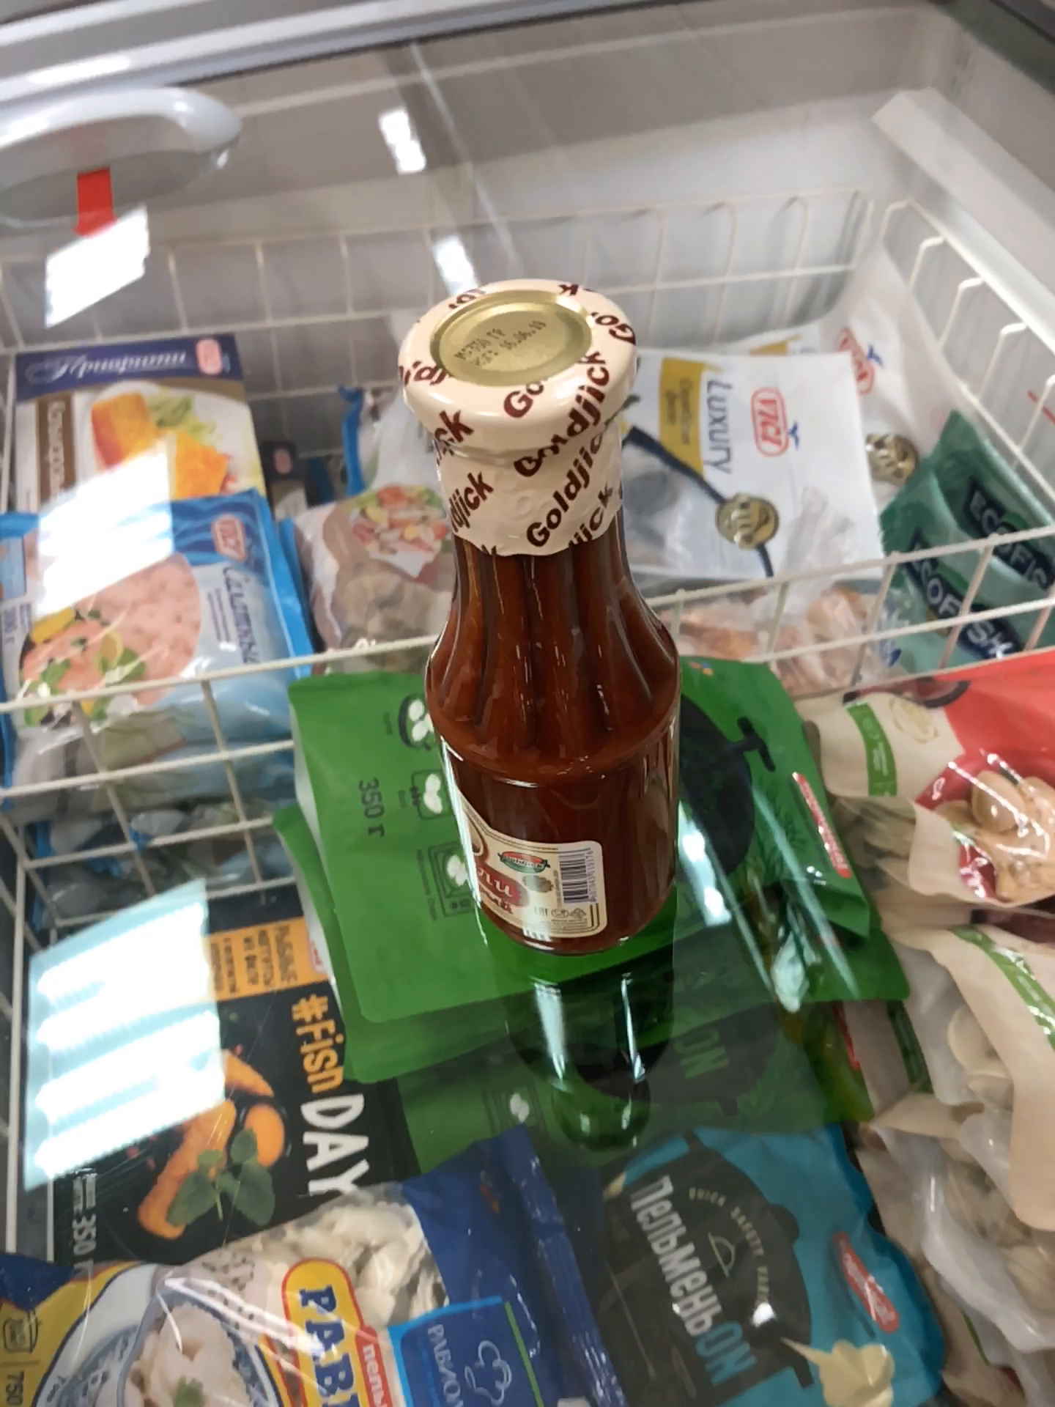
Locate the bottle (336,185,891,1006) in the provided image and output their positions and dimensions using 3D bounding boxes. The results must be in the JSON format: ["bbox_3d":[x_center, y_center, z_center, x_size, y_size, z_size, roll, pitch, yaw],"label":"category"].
[{"bbox_3d":[0.015,-0.013,0.284,0.080,0.179,0.080,-2,50,2],"label":"bottle"}]
